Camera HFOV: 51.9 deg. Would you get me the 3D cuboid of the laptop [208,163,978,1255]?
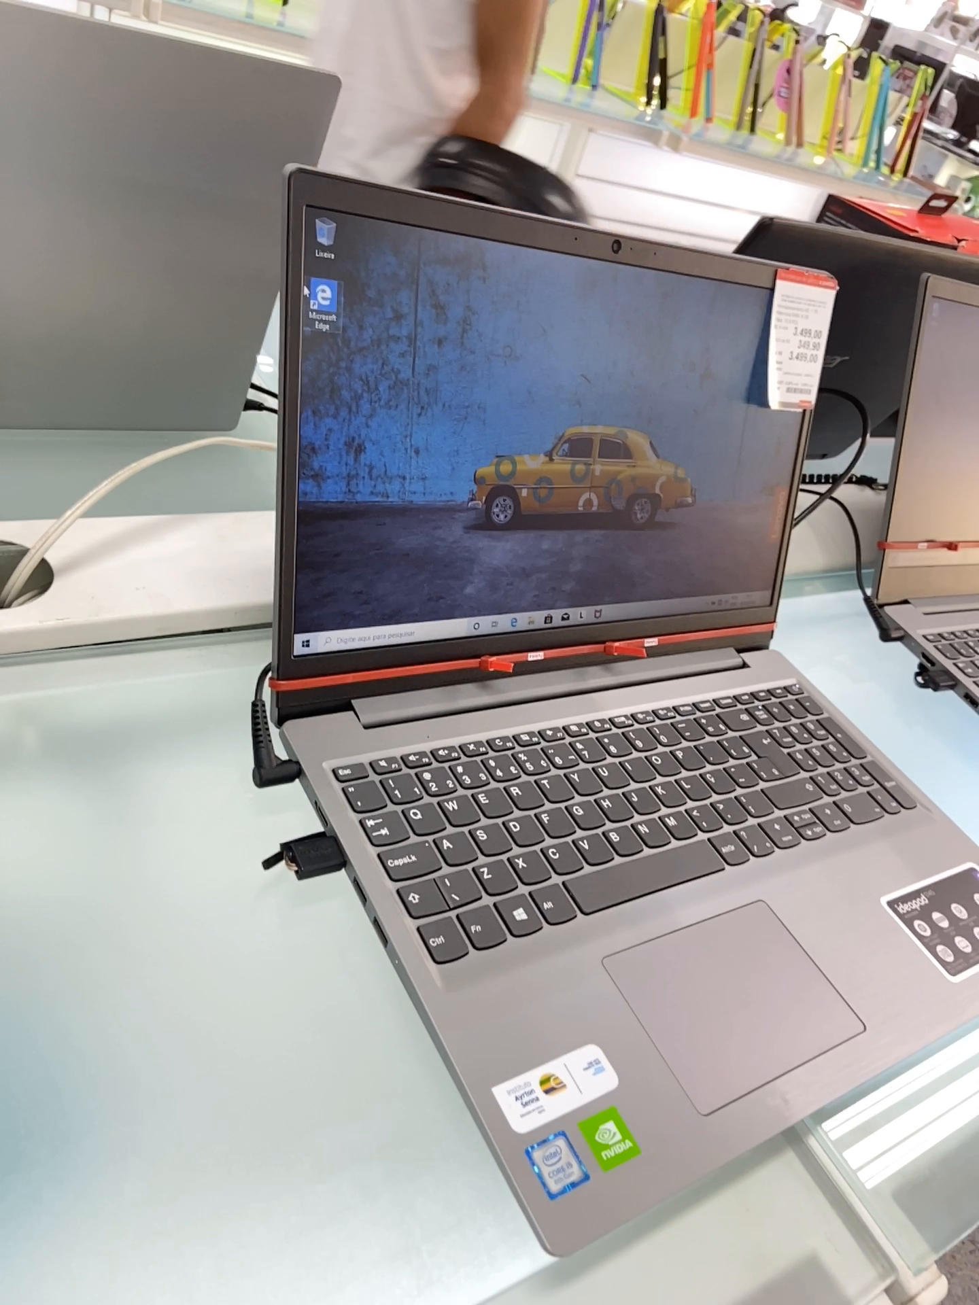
[{"bbox_3d":[0.115,-0.020,0.472,0.365,0.214,0.352,-6,44,-35],"label":"laptop"}]
